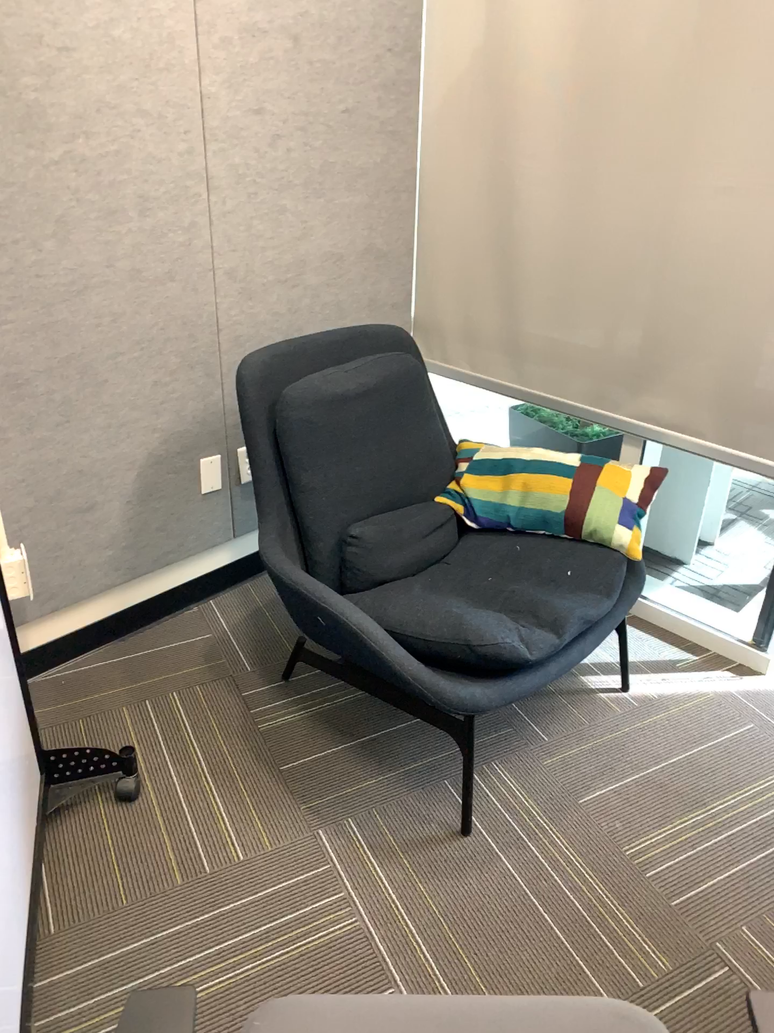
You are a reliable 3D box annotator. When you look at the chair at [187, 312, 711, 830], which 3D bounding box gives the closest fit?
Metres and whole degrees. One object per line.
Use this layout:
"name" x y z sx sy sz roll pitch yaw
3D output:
"chair" 0.103 0.019 2.087 0.791 0.816 1.004 -20 34 -35
